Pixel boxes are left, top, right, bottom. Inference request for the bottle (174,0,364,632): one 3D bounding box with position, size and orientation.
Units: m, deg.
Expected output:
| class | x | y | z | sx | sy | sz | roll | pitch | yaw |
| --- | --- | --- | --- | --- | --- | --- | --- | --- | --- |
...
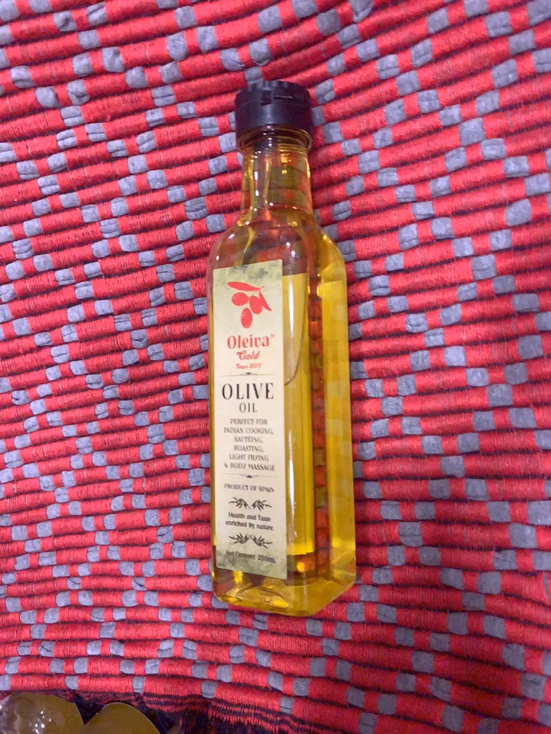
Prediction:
| class | x | y | z | sx | sy | sz | roll | pitch | yaw |
| --- | --- | --- | --- | --- | --- | --- | --- | --- | --- |
| bottle | -0.002 | -0.020 | 0.219 | 0.050 | 0.050 | 0.210 | -4 | 85 | 31 |
